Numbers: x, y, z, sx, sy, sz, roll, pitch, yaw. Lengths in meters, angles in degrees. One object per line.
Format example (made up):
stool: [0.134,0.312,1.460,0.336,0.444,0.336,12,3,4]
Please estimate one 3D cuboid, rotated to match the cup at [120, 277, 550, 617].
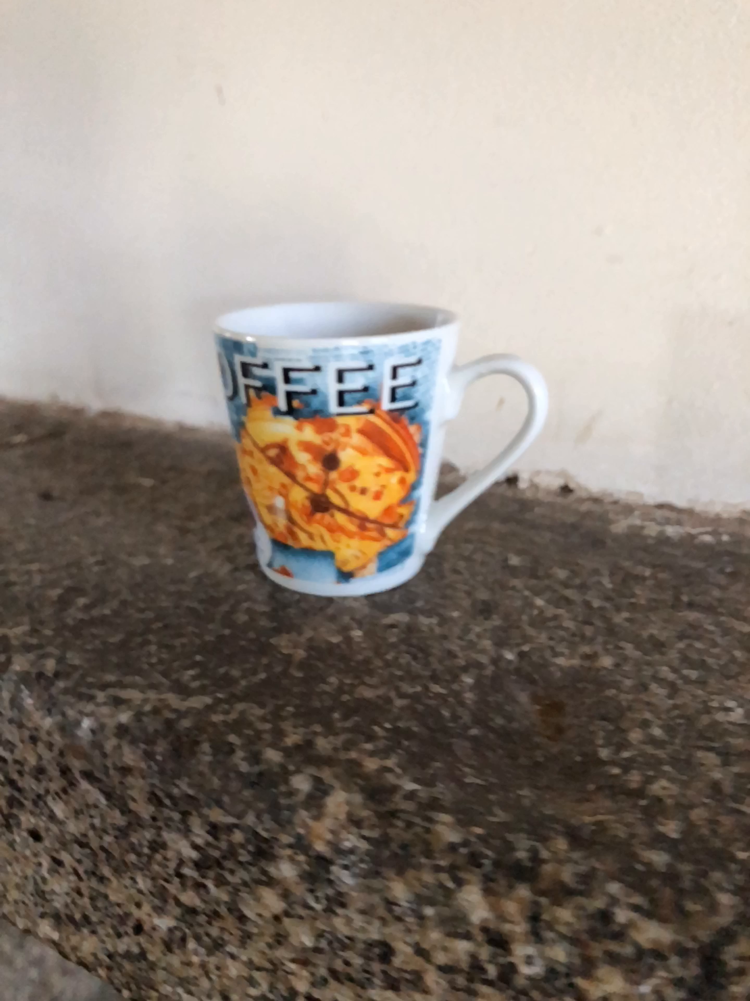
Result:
cup: [-0.003,-0.017,0.196,0.080,0.060,0.060,3,20,15]
